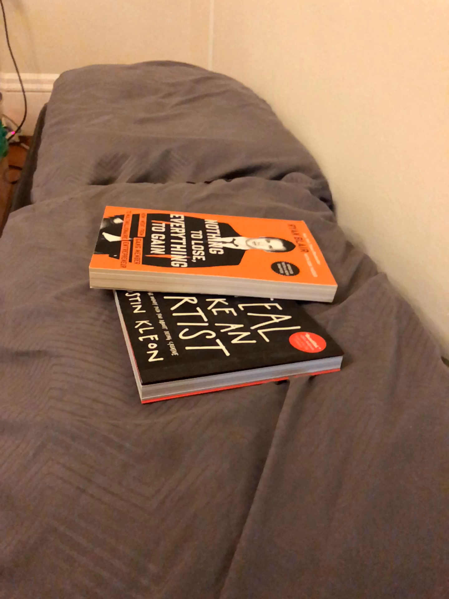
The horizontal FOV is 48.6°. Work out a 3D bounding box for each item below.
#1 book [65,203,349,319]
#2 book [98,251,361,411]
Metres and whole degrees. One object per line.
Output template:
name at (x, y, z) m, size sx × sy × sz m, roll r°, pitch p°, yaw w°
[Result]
book at (-0.019, -0.042, 0.474) m, size 0.230 × 0.020 × 0.171 m, roll 0°, pitch 36°, yaw -8°
book at (-0.004, 0.013, 0.402) m, size 0.170 × 0.020 × 0.151 m, roll -6°, pitch 37°, yaw -20°
